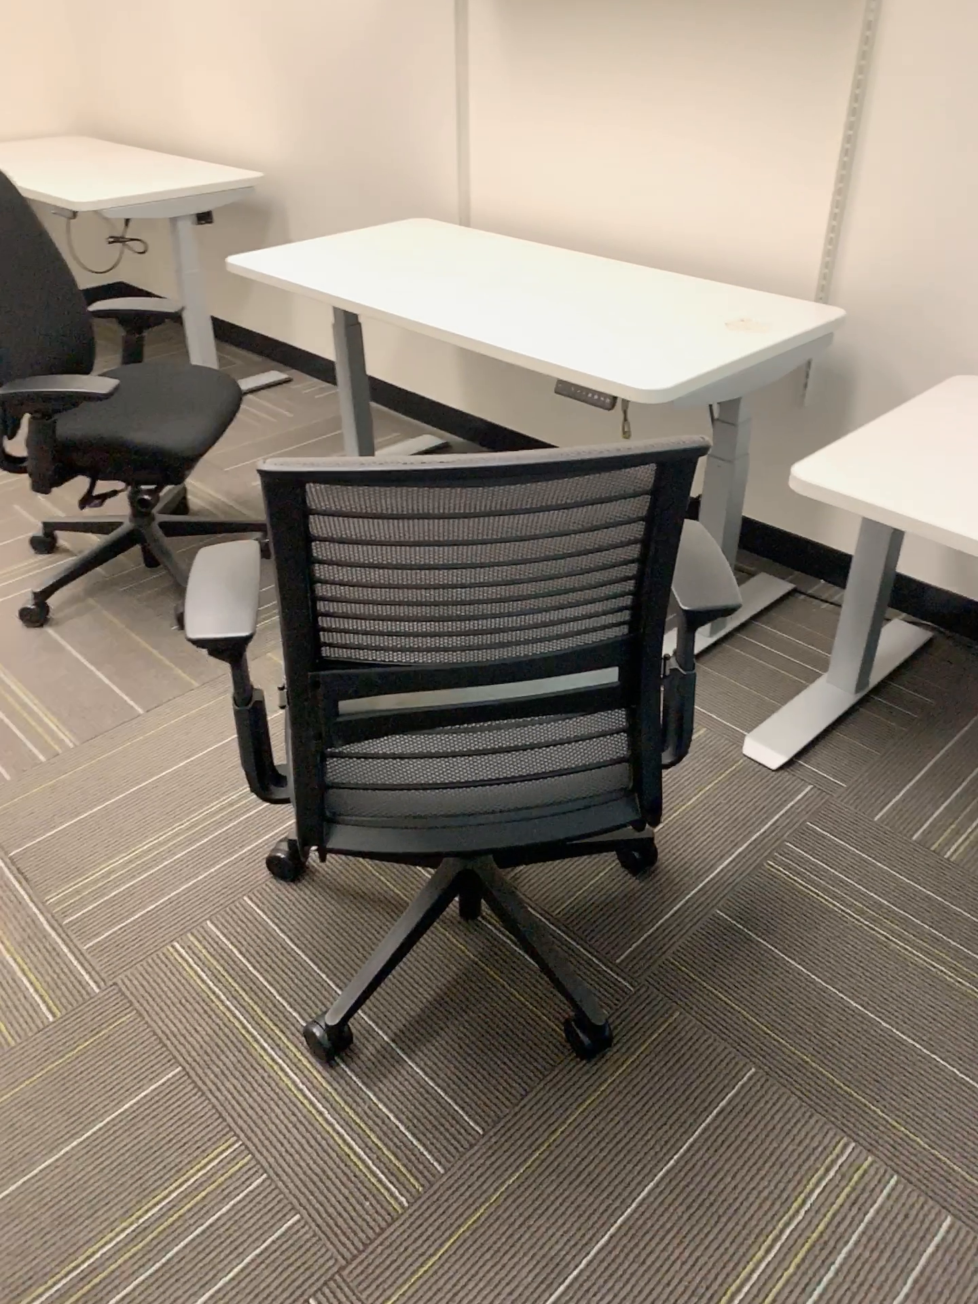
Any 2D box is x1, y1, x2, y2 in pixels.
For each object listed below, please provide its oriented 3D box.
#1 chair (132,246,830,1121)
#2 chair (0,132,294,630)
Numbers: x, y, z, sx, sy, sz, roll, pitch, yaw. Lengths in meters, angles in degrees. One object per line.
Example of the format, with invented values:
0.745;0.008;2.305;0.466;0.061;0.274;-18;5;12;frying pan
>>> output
-0.055;0.029;1.433;0.640;0.994;0.644;-7;35;-10;chair
-0.935;-0.678;2.464;0.700;0.994;0.735;-1;34;-1;chair
